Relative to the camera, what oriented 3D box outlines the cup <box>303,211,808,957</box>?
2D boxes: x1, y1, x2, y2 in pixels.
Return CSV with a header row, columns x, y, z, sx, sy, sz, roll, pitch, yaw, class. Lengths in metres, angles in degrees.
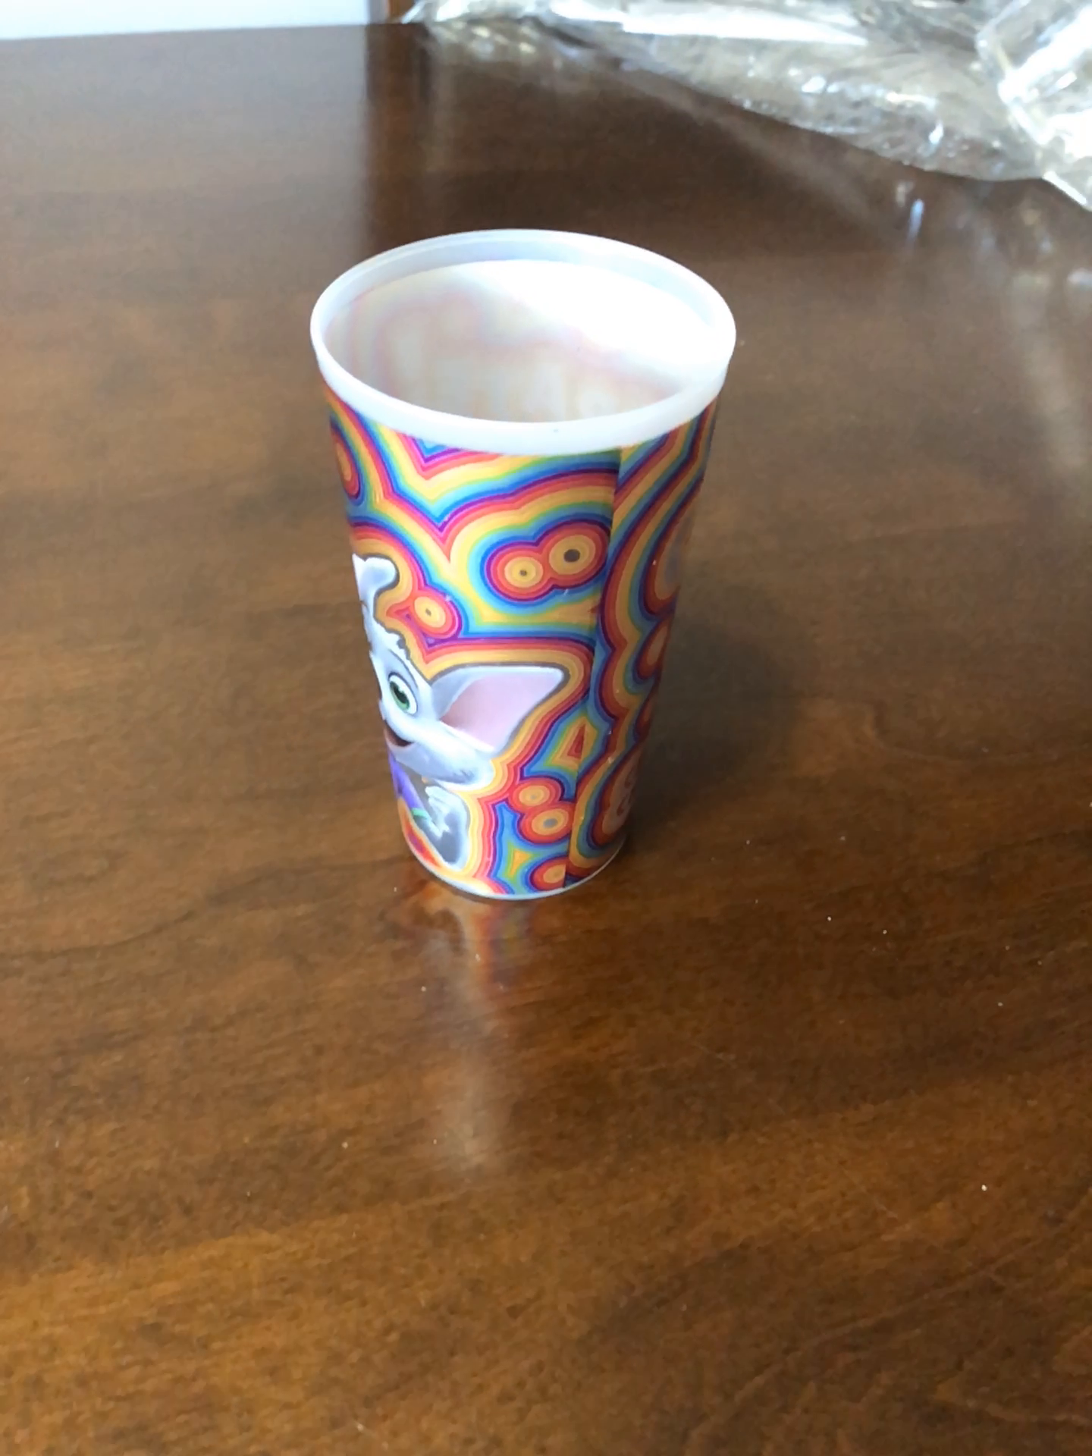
x,y,z,sx,sy,sz,roll,pitch,yaw,class
-0.004,-0.026,0.255,0.070,0.130,0.070,1,44,-1,cup
